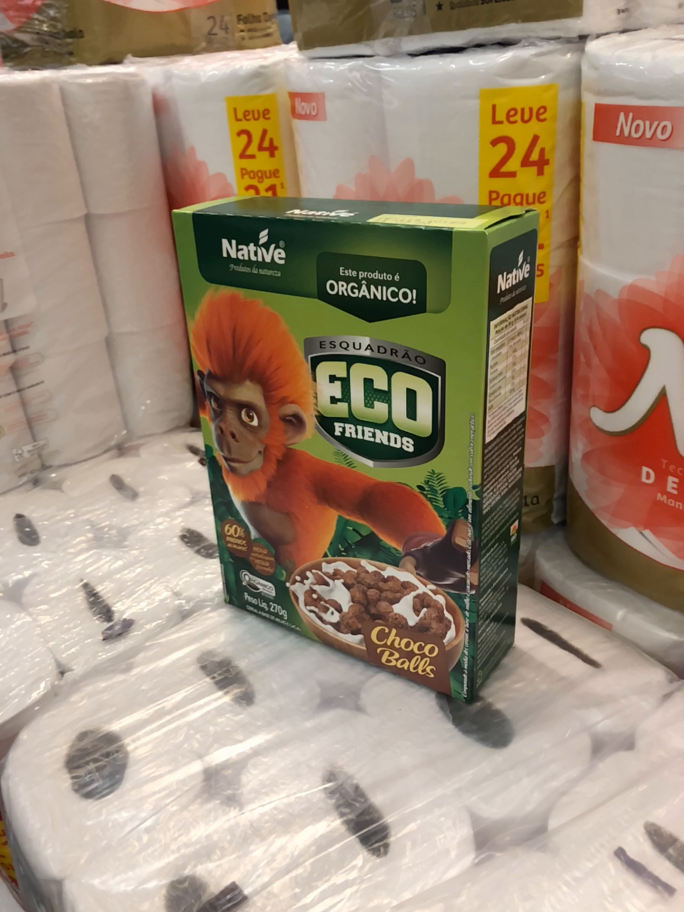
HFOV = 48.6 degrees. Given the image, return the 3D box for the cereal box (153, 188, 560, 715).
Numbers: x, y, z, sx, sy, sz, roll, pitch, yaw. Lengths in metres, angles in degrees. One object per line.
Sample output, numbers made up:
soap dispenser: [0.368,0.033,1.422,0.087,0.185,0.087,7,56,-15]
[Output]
cereal box: [0.004,-0.010,0.387,0.180,0.228,0.060,15,30,33]
